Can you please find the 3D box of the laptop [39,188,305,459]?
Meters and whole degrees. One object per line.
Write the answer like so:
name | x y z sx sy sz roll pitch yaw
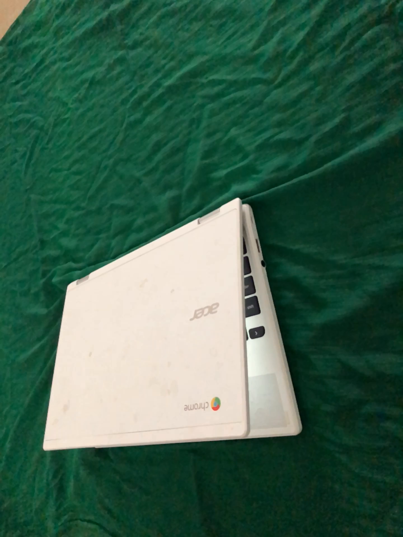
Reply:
laptop | -0.056 0.074 0.433 0.281 0.065 0.193 -23 72 41
